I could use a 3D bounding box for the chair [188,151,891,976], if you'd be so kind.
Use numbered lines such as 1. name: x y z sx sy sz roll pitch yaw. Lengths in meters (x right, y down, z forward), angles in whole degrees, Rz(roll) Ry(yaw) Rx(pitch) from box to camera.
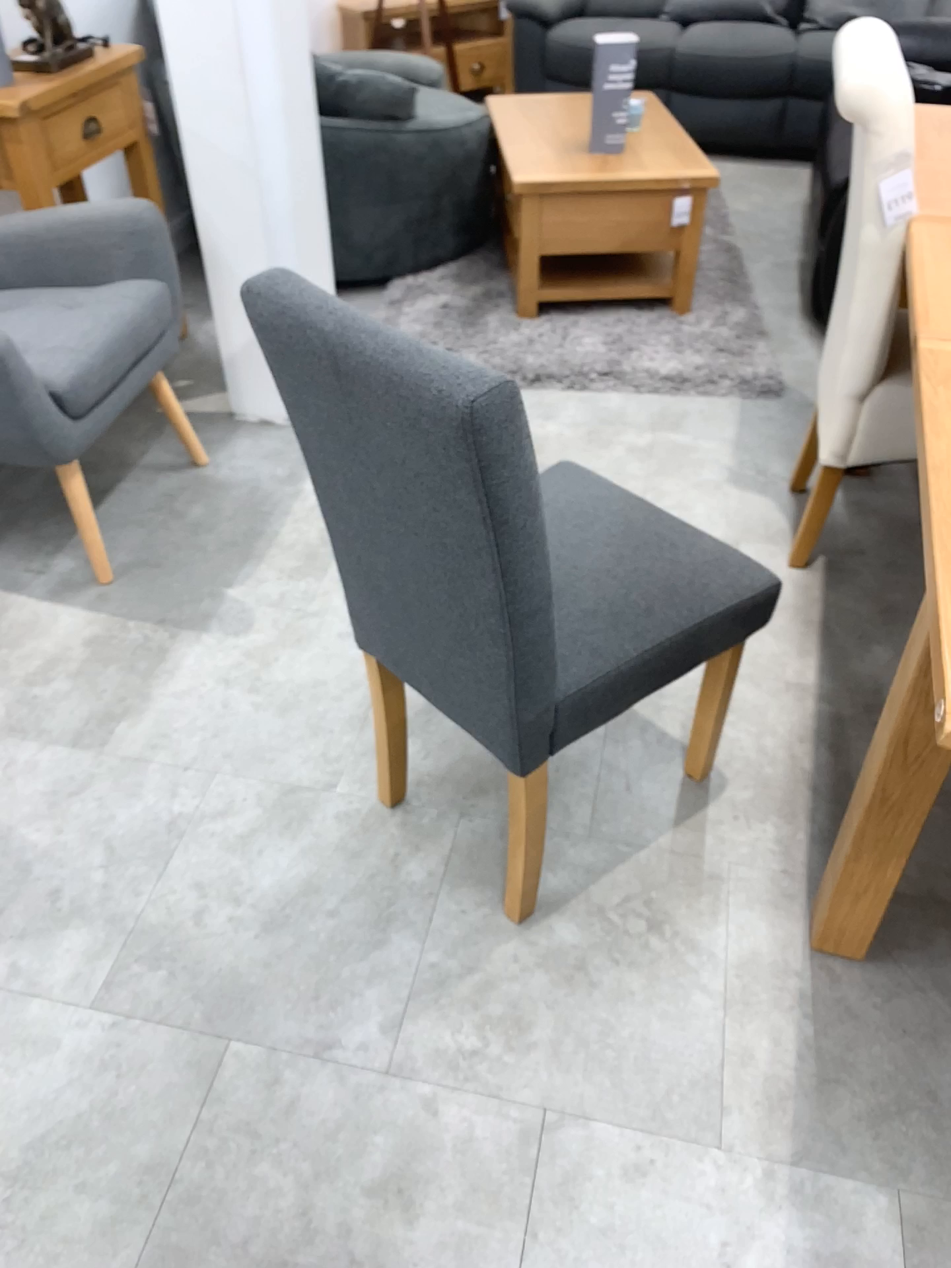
1. chair: 0.087 -0.103 1.343 0.645 0.830 0.447 -32 50 -30

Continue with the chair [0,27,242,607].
1. chair: -0.906 -0.611 1.877 0.582 0.830 0.670 6 42 7

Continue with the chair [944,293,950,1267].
1. chair: 0.841 0.293 0.846 0.504 0.899 0.628 10 42 11
